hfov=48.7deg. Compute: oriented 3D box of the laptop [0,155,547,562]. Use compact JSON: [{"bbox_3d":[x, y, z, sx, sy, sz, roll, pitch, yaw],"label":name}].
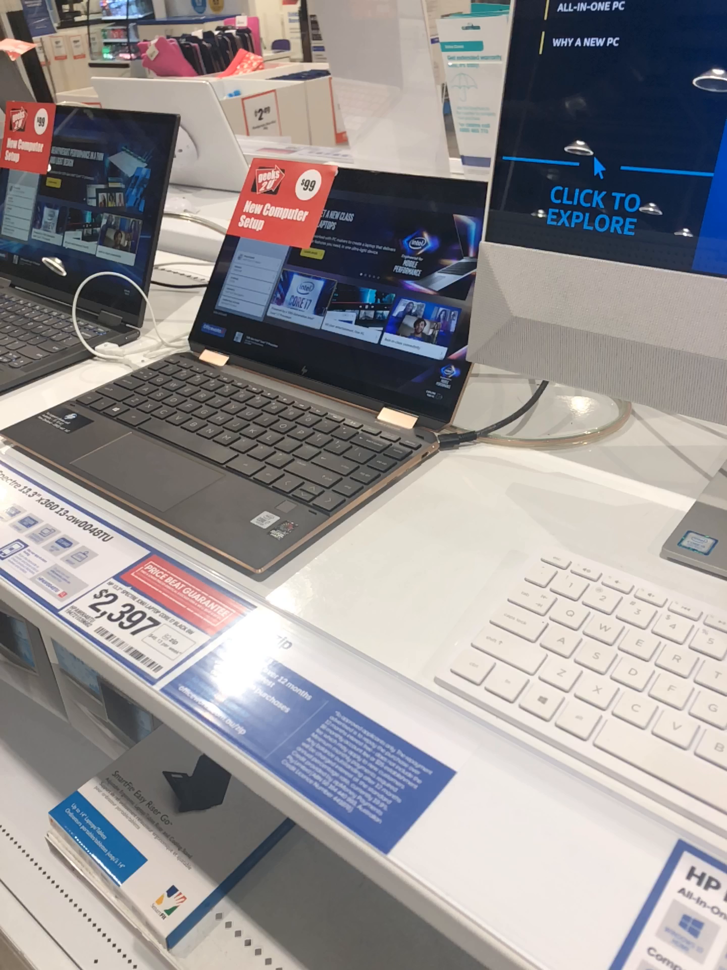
[{"bbox_3d":[-0.075,-0.134,0.613,0.298,0.147,0.315,21,41,35],"label":"laptop"}]
